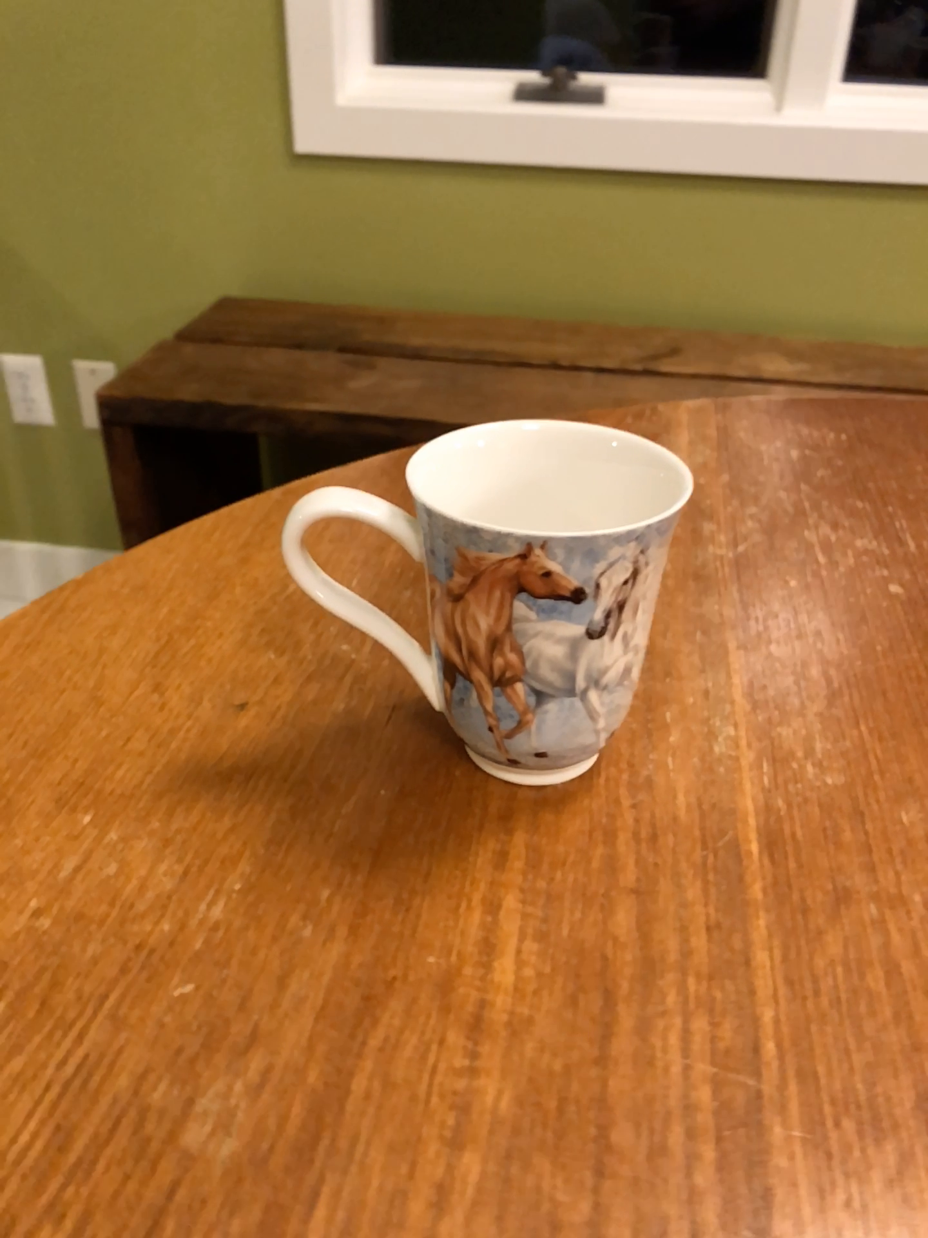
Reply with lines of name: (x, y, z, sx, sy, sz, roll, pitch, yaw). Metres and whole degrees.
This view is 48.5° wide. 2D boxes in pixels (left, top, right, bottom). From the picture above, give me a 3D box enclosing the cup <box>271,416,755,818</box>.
cup: (0.010, -0.004, 0.340, 0.133, 0.098, 0.083, -2, 32, -5)
